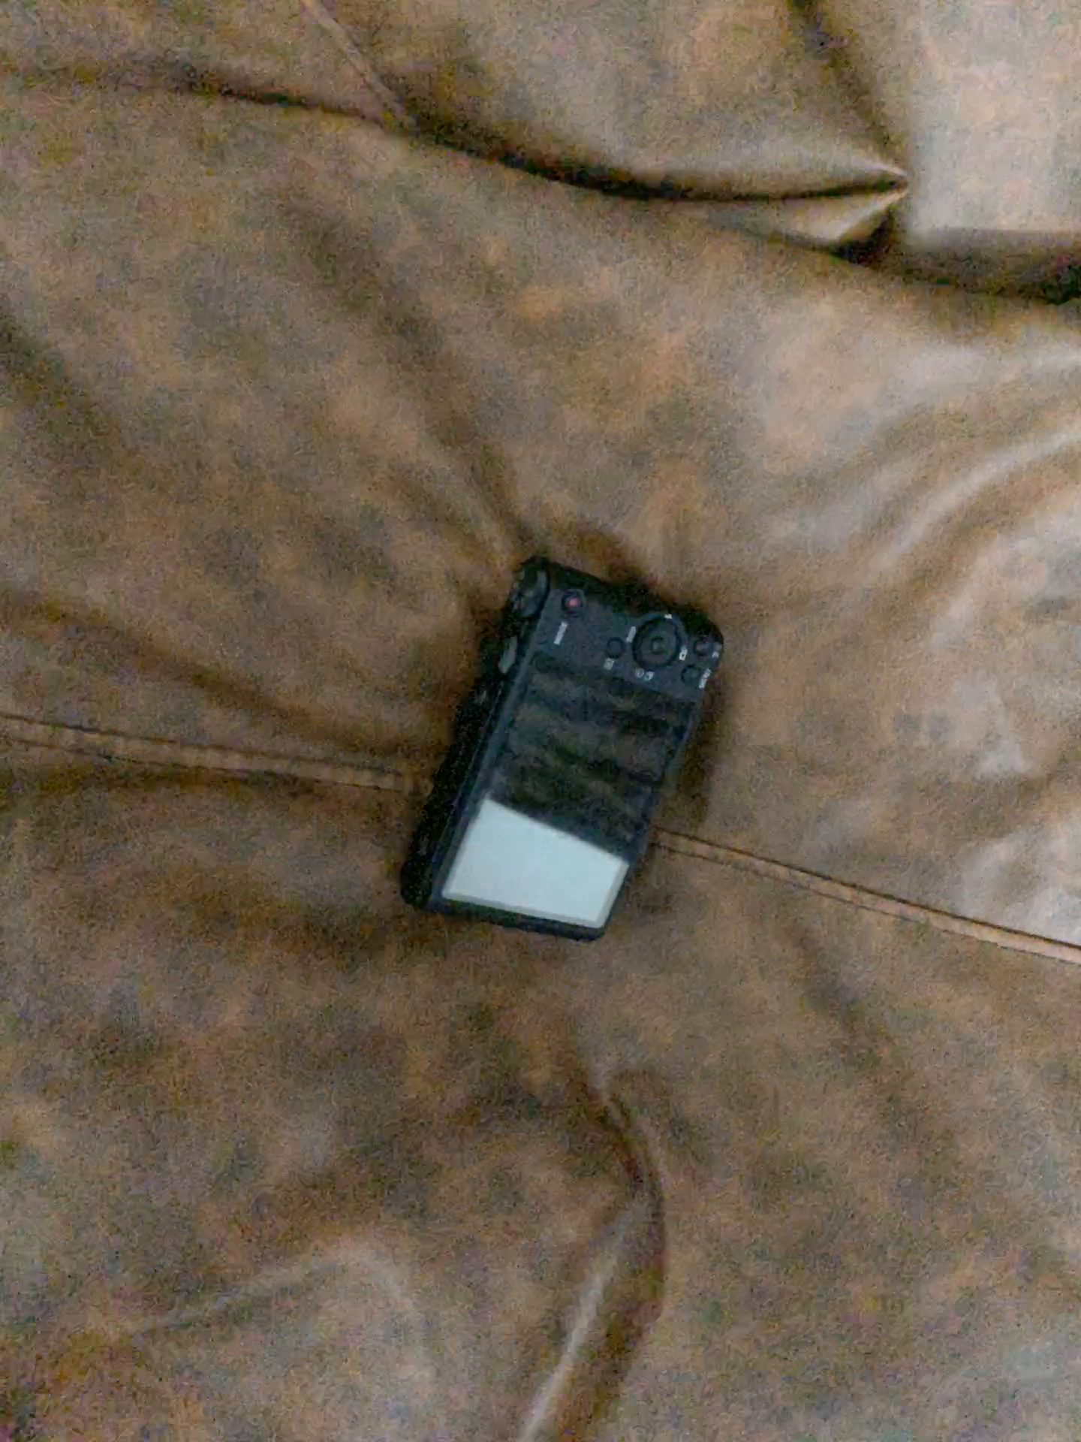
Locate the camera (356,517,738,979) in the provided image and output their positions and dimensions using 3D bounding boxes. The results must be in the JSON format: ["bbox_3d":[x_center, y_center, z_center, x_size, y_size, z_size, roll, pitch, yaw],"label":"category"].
[{"bbox_3d":[0.000,0.008,0.279,0.060,0.024,0.100,18,99,-20],"label":"camera"}]
